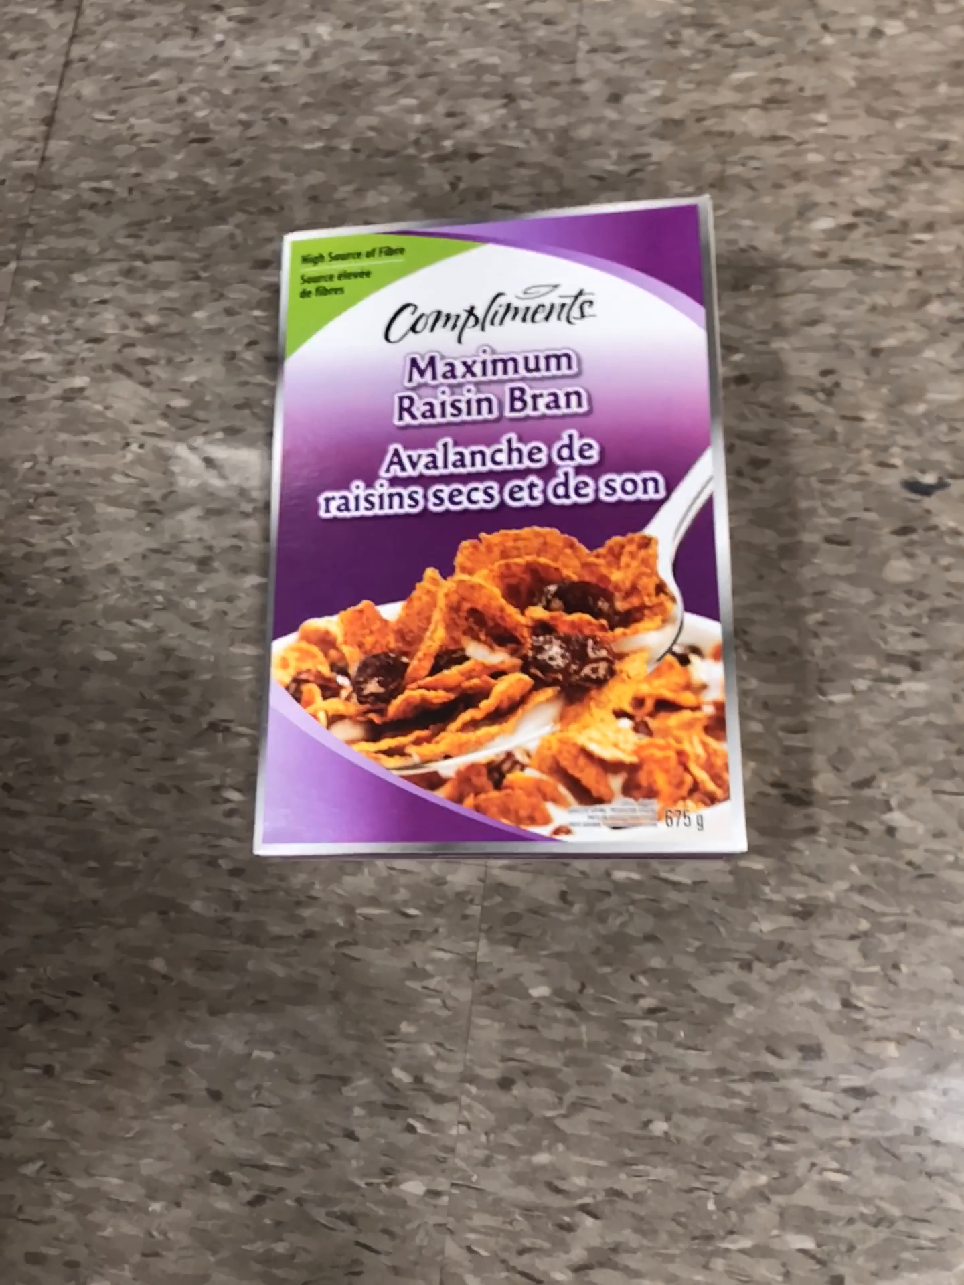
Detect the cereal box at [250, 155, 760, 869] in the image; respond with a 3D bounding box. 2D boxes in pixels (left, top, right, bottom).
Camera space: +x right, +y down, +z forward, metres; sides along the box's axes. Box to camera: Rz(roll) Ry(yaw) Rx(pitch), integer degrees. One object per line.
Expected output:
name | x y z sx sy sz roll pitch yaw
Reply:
cereal box | 0.014 -0.058 0.490 0.200 0.070 0.310 -1 75 9
